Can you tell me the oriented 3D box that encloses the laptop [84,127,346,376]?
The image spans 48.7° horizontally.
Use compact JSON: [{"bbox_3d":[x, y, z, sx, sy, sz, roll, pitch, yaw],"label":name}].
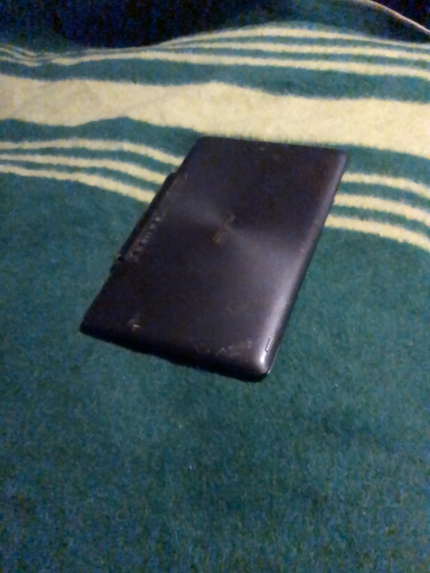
[{"bbox_3d":[0.011,-0.057,0.453,0.167,0.017,0.263,13,57,20],"label":"laptop"}]
